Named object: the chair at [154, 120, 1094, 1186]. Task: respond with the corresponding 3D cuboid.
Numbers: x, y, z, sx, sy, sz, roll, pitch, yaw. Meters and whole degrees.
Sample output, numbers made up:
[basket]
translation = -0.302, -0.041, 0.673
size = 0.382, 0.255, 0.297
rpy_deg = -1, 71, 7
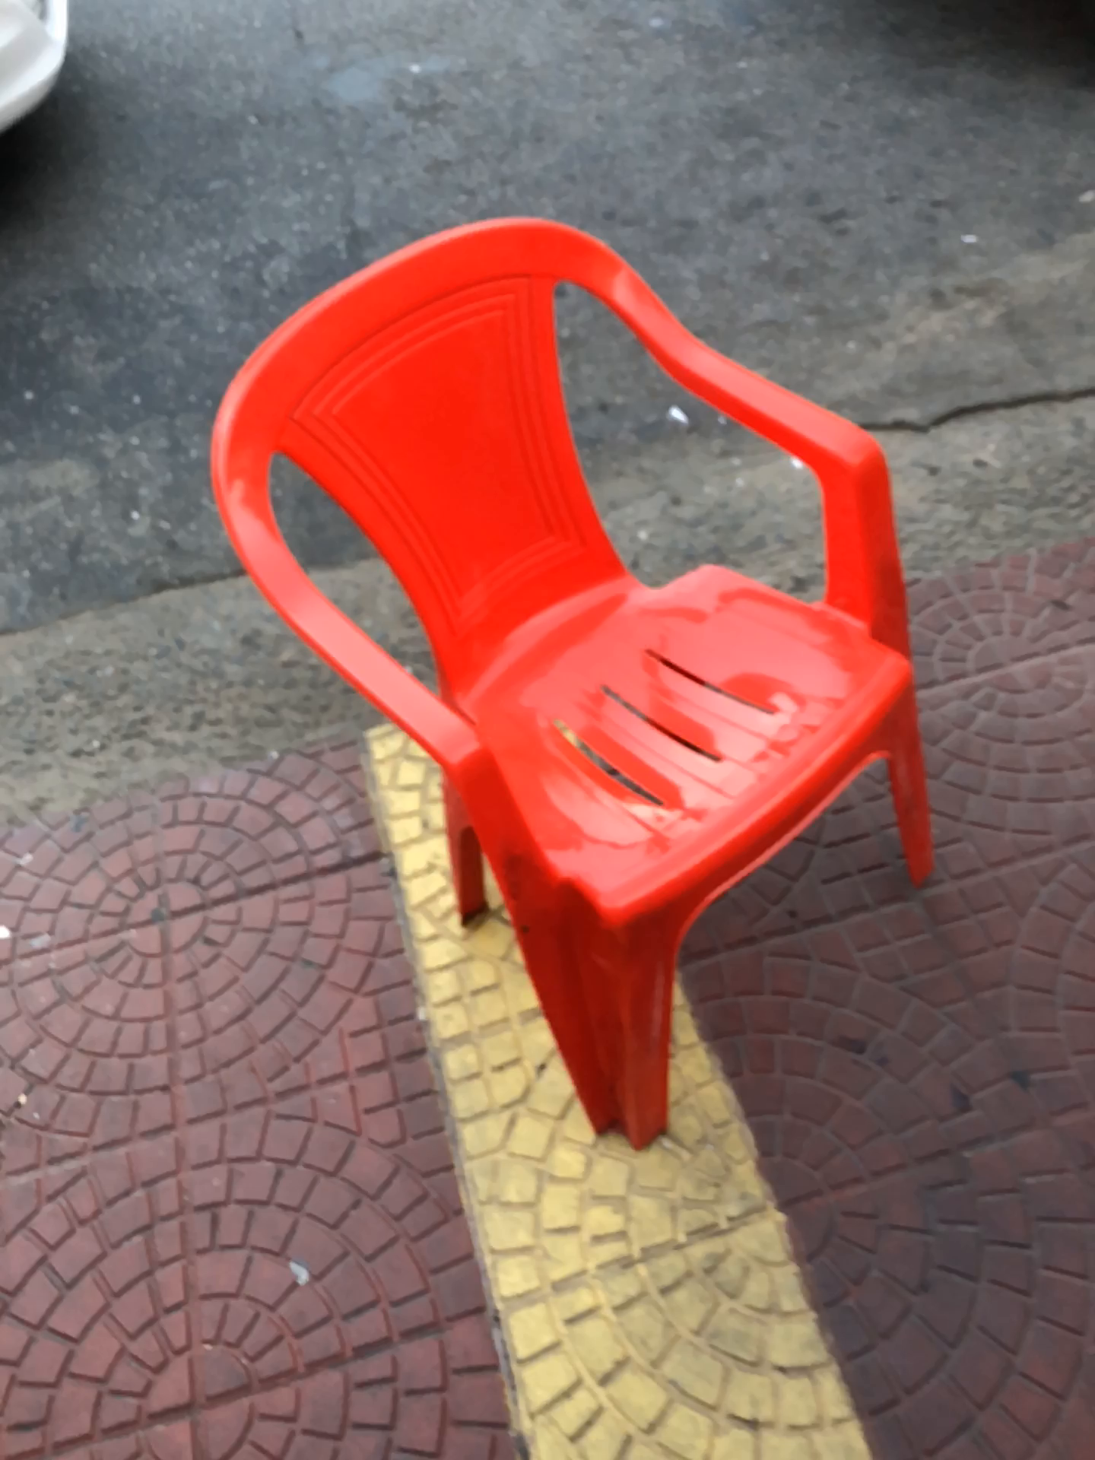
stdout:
[chair]
translation = 0.095, -0.064, 1.278
size = 0.571, 0.795, 0.542
rpy_deg = -36, 55, -23
